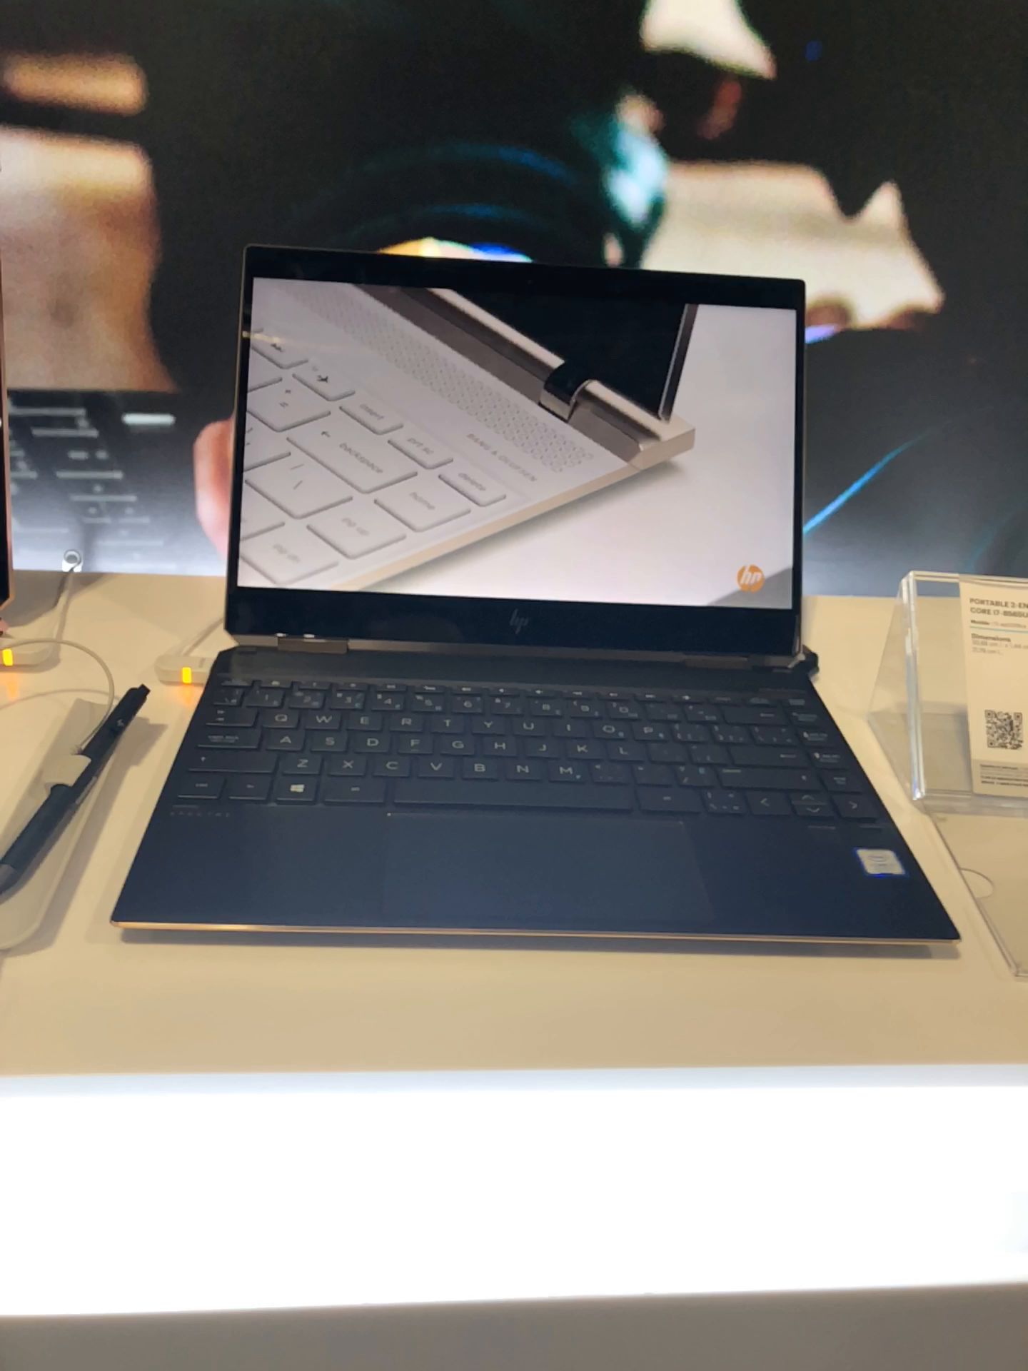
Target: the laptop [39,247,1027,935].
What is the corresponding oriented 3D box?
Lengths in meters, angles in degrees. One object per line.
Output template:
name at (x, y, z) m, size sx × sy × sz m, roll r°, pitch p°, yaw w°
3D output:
laptop at (0.012, -0.073, 0.511) m, size 0.305 × 0.172 × 0.347 m, roll 2°, pitch 28°, yaw -4°
